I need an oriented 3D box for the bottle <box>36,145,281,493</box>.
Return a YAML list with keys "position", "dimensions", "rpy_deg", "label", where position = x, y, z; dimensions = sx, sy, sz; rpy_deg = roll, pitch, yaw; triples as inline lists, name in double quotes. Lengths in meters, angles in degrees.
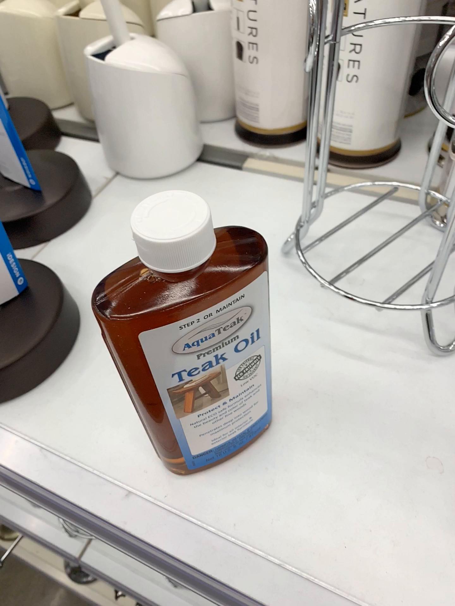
- position: [-0.019, 0.028, 0.268]
  dimensions: [0.088, 0.207, 0.046]
  rpy_deg: [-27, 52, -16]
  label: "bottle"
